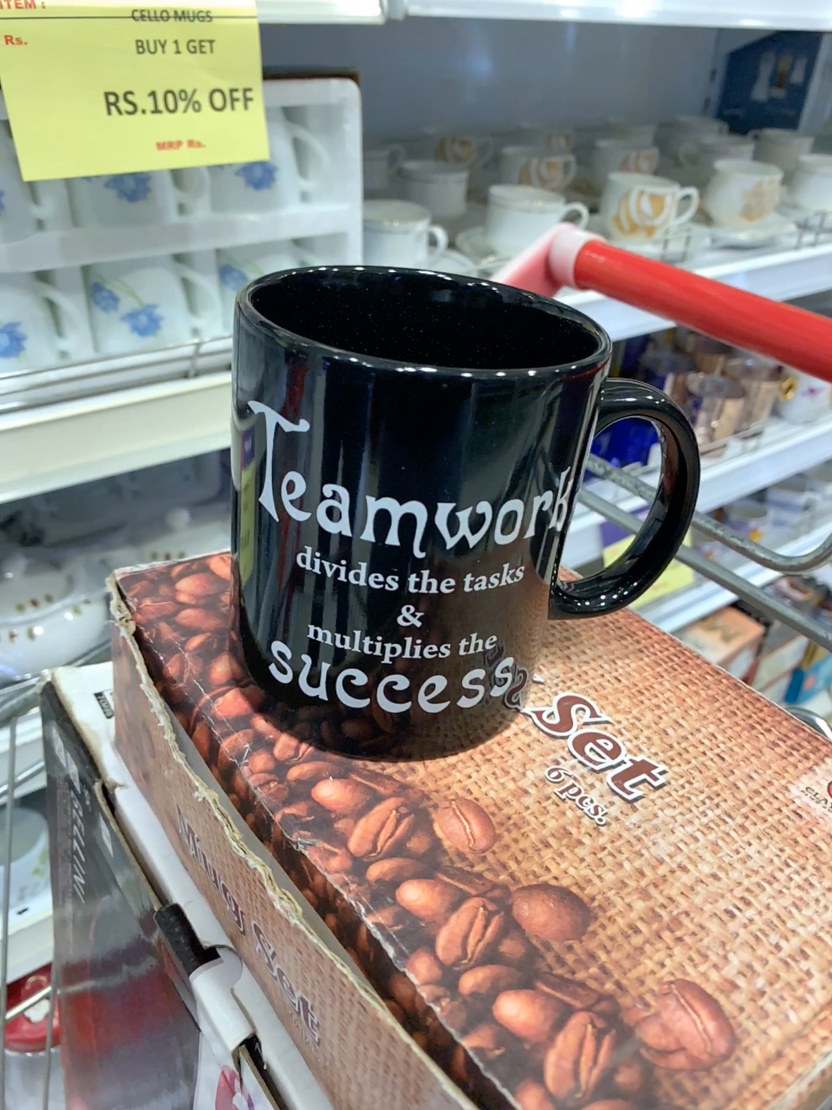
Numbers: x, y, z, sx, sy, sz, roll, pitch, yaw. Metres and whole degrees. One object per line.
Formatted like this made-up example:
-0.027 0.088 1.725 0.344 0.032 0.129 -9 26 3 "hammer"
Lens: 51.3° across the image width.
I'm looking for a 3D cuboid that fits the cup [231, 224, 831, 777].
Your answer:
0.019 -0.012 0.214 0.120 0.100 0.080 2 34 -14 "cup"
